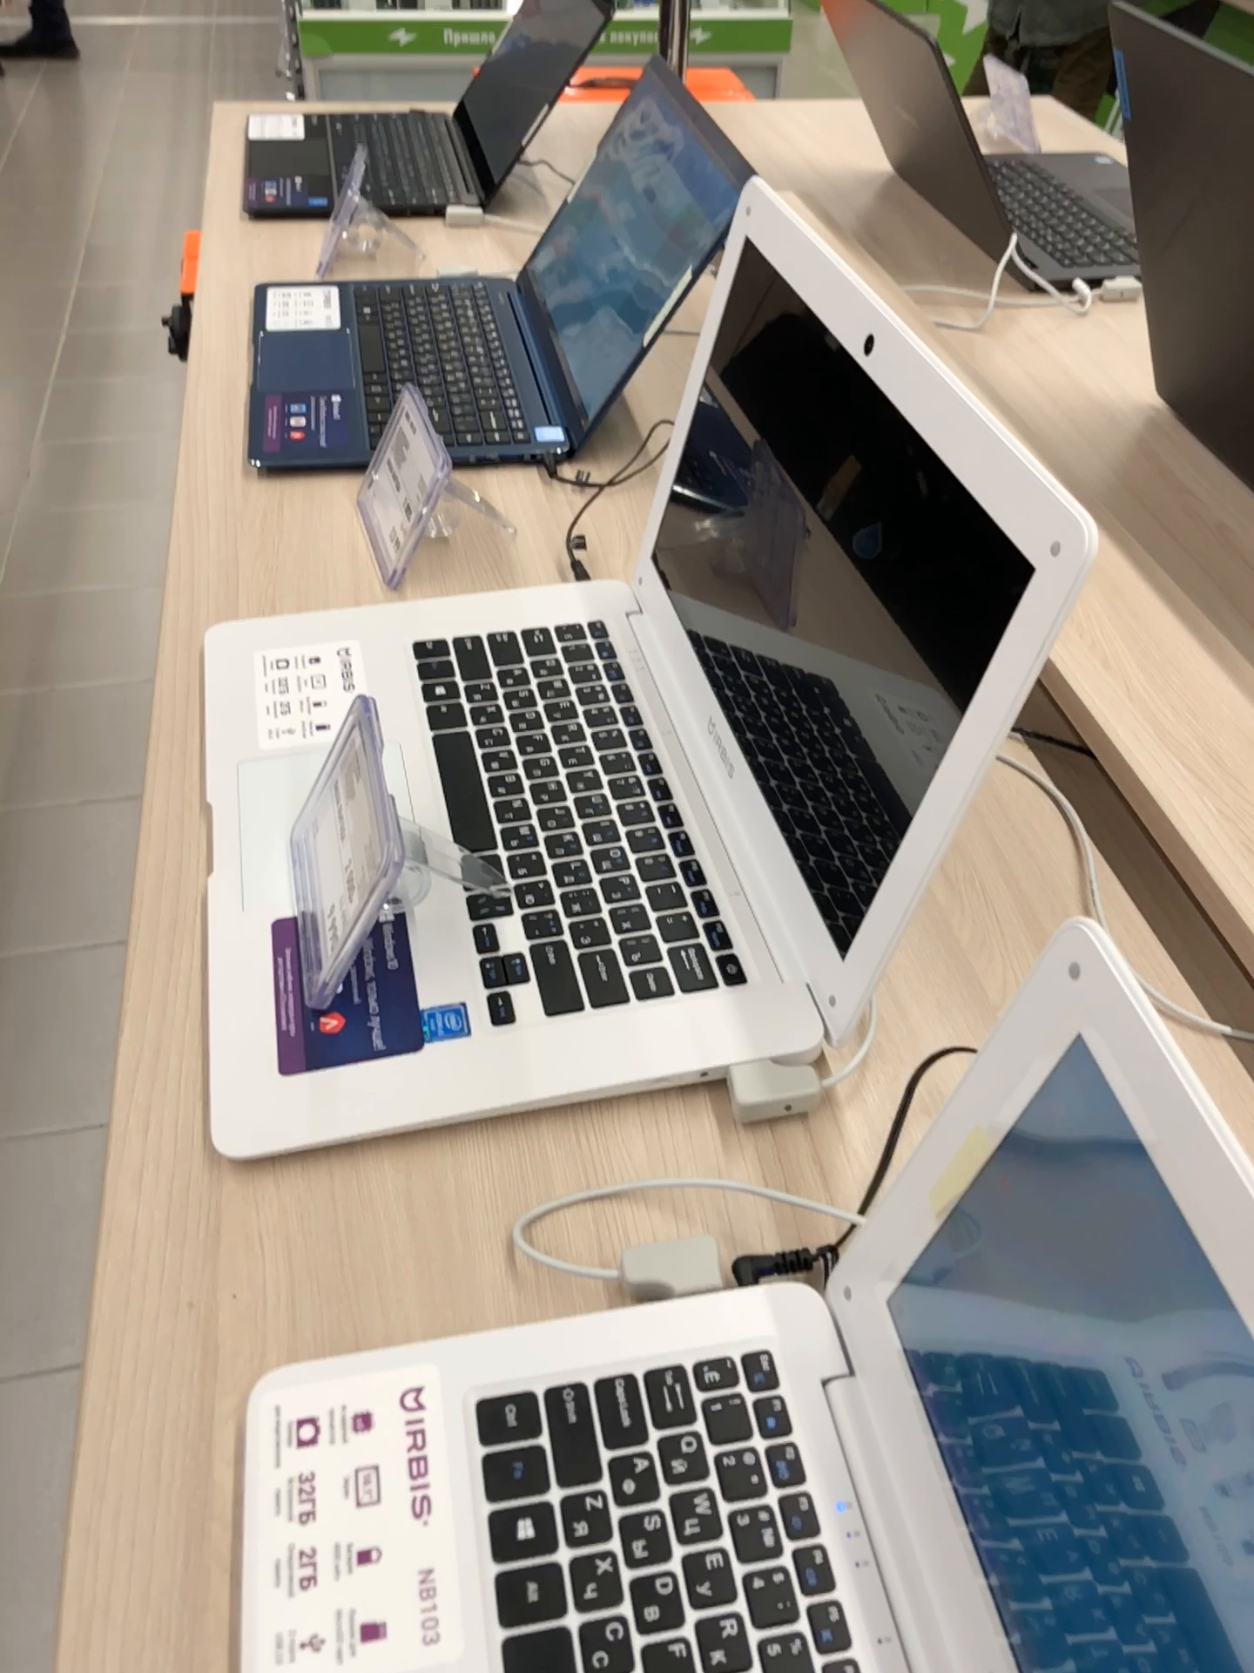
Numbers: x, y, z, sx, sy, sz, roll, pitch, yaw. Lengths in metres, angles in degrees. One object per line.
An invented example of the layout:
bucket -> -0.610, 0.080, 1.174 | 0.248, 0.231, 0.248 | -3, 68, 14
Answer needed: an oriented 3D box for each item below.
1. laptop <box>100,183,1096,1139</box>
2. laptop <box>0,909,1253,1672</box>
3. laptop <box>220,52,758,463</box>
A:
laptop -> -0.041, -0.100, 0.566 | 0.279, 0.207, 0.335 | -8, 42, -11
laptop -> 0.023, 0.176, 0.281 | 0.221, 0.167, 0.261 | -6, 40, -9
laptop -> -0.104, -0.412, 0.953 | 0.310, 0.158, 0.299 | -6, 42, -9
